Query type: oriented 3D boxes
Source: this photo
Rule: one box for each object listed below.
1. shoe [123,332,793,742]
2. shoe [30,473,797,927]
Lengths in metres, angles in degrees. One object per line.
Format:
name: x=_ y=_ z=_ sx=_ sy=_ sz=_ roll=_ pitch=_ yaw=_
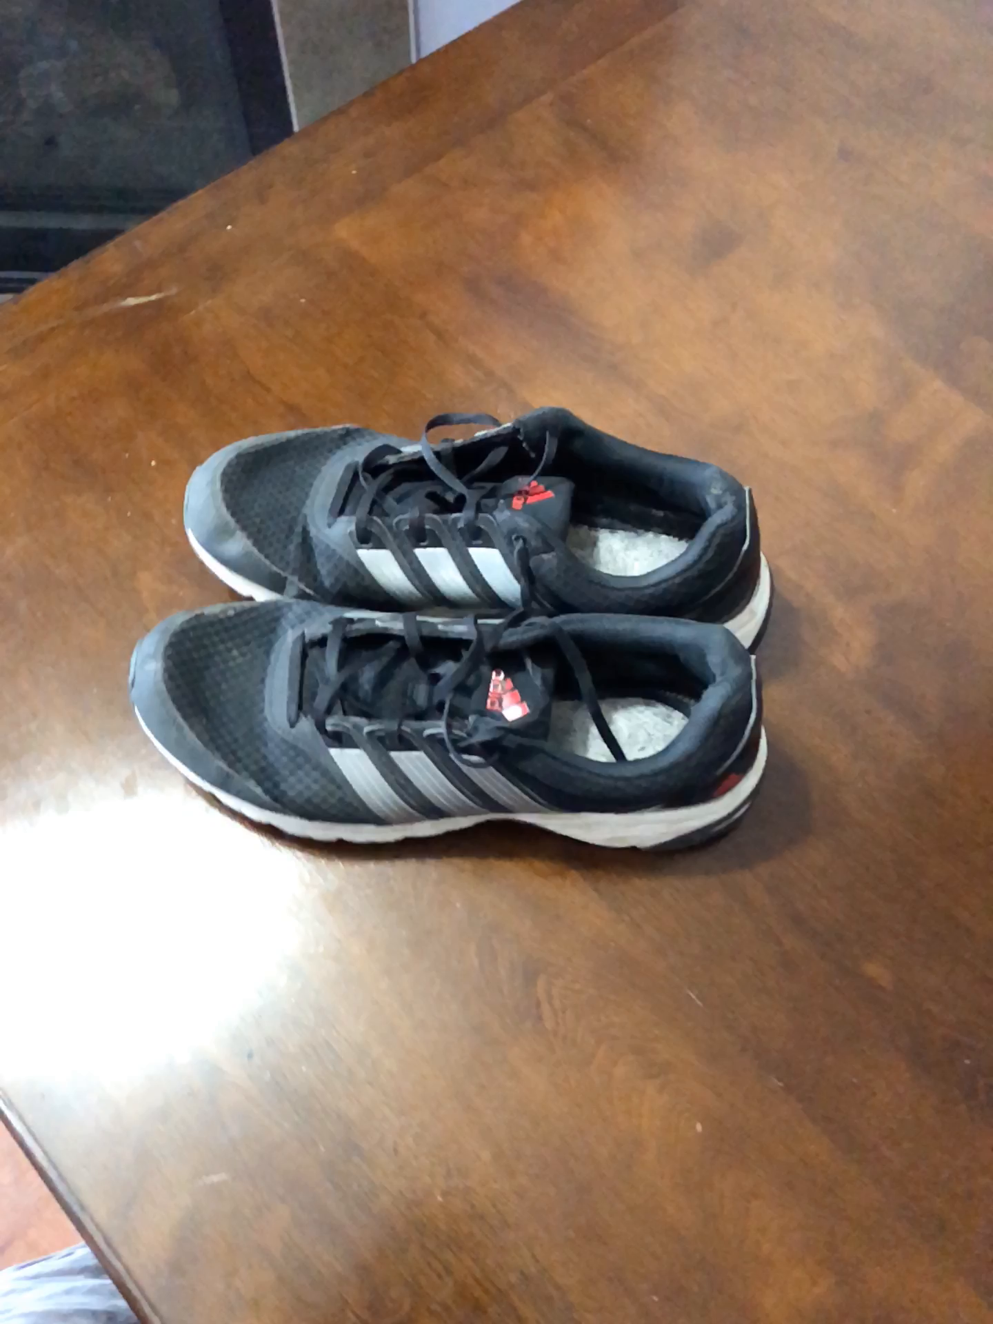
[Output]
shoe: x=-0.013 y=-0.060 z=0.556 sx=0.290 sy=0.120 sz=0.120 roll=9 pitch=63 yaw=3
shoe: x=-0.028 y=0.022 z=0.499 sx=0.290 sy=0.130 sz=0.120 roll=9 pitch=63 yaw=3
